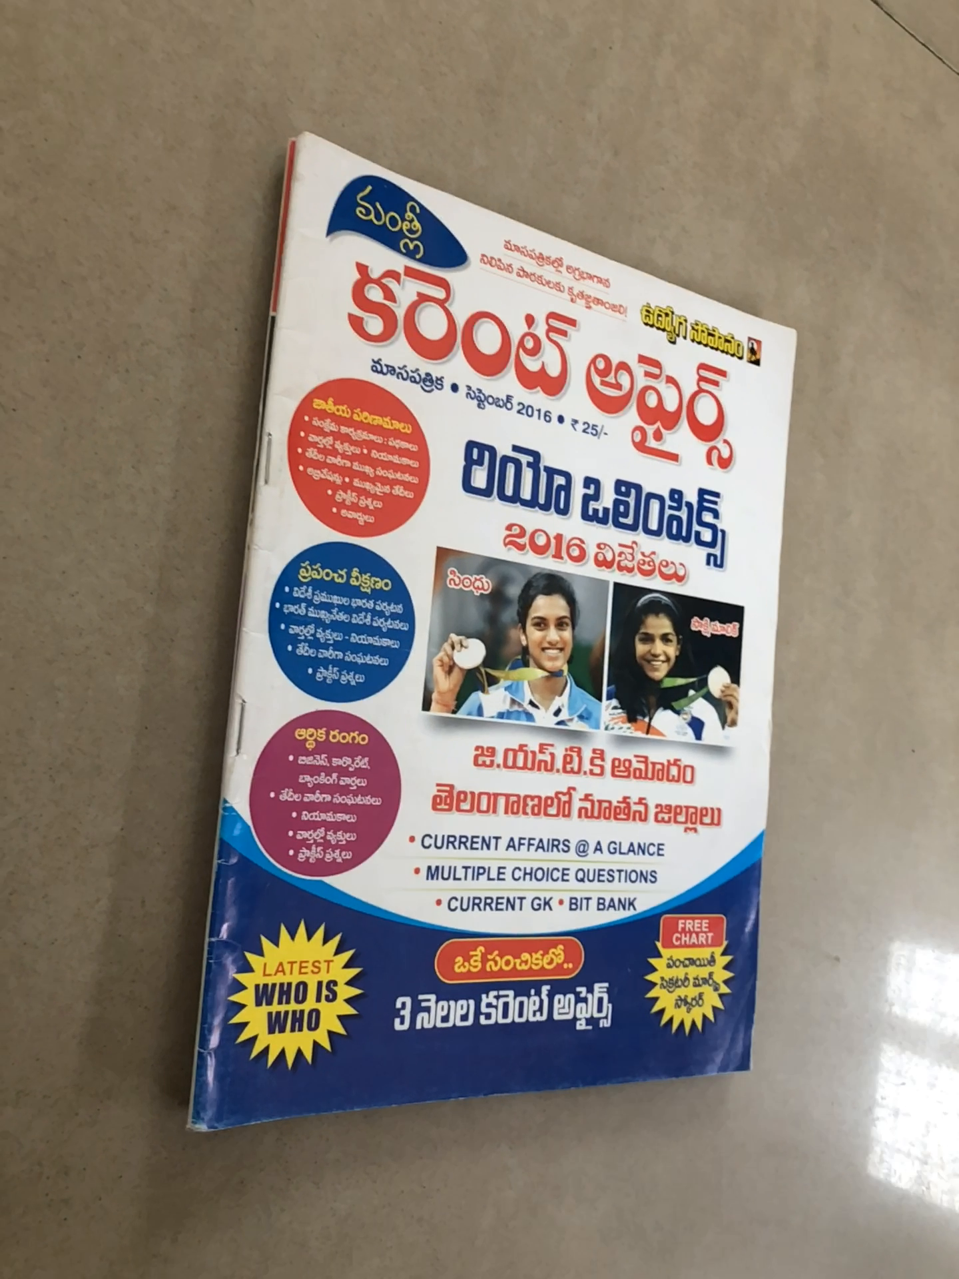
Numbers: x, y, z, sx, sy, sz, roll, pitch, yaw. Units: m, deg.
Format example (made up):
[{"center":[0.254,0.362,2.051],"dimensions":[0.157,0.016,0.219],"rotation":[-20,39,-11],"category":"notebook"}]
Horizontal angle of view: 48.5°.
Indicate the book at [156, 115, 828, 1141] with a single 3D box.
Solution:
[{"center":[0.023,0.005,0.320],"dimensions":[0.201,0.010,0.260],"rotation":[10,82,-30],"category":"book"}]
